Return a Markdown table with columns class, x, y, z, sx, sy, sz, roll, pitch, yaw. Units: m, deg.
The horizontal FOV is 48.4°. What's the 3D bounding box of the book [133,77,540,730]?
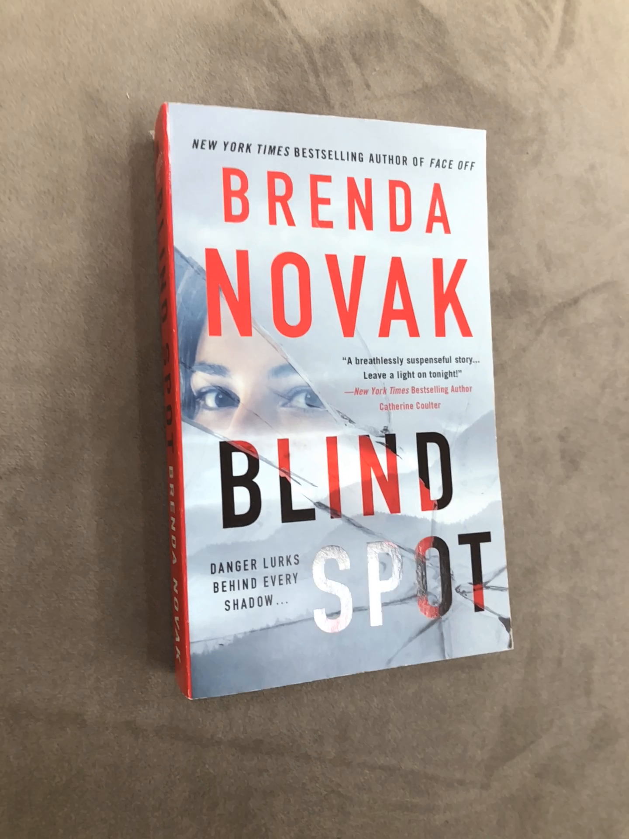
| class | x | y | z | sx | sy | sz | roll | pitch | yaw |
| --- | --- | --- | --- | --- | --- | --- | --- | --- | --- |
| book | 0.004 | -0.008 | 0.241 | 0.120 | 0.050 | 0.190 | -3 | 88 | -14 |
